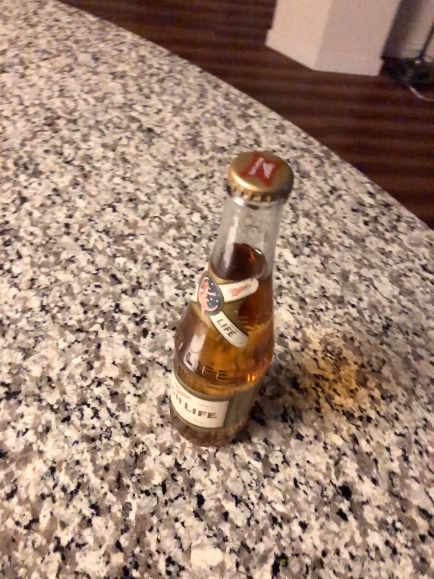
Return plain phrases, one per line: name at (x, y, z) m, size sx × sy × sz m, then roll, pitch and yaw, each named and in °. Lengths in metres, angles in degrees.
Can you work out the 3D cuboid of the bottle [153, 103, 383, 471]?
bottle at (0.010, 0.021, 0.280) m, size 0.070 × 0.229 × 0.060 m, roll -34°, pitch 63°, yaw -29°
